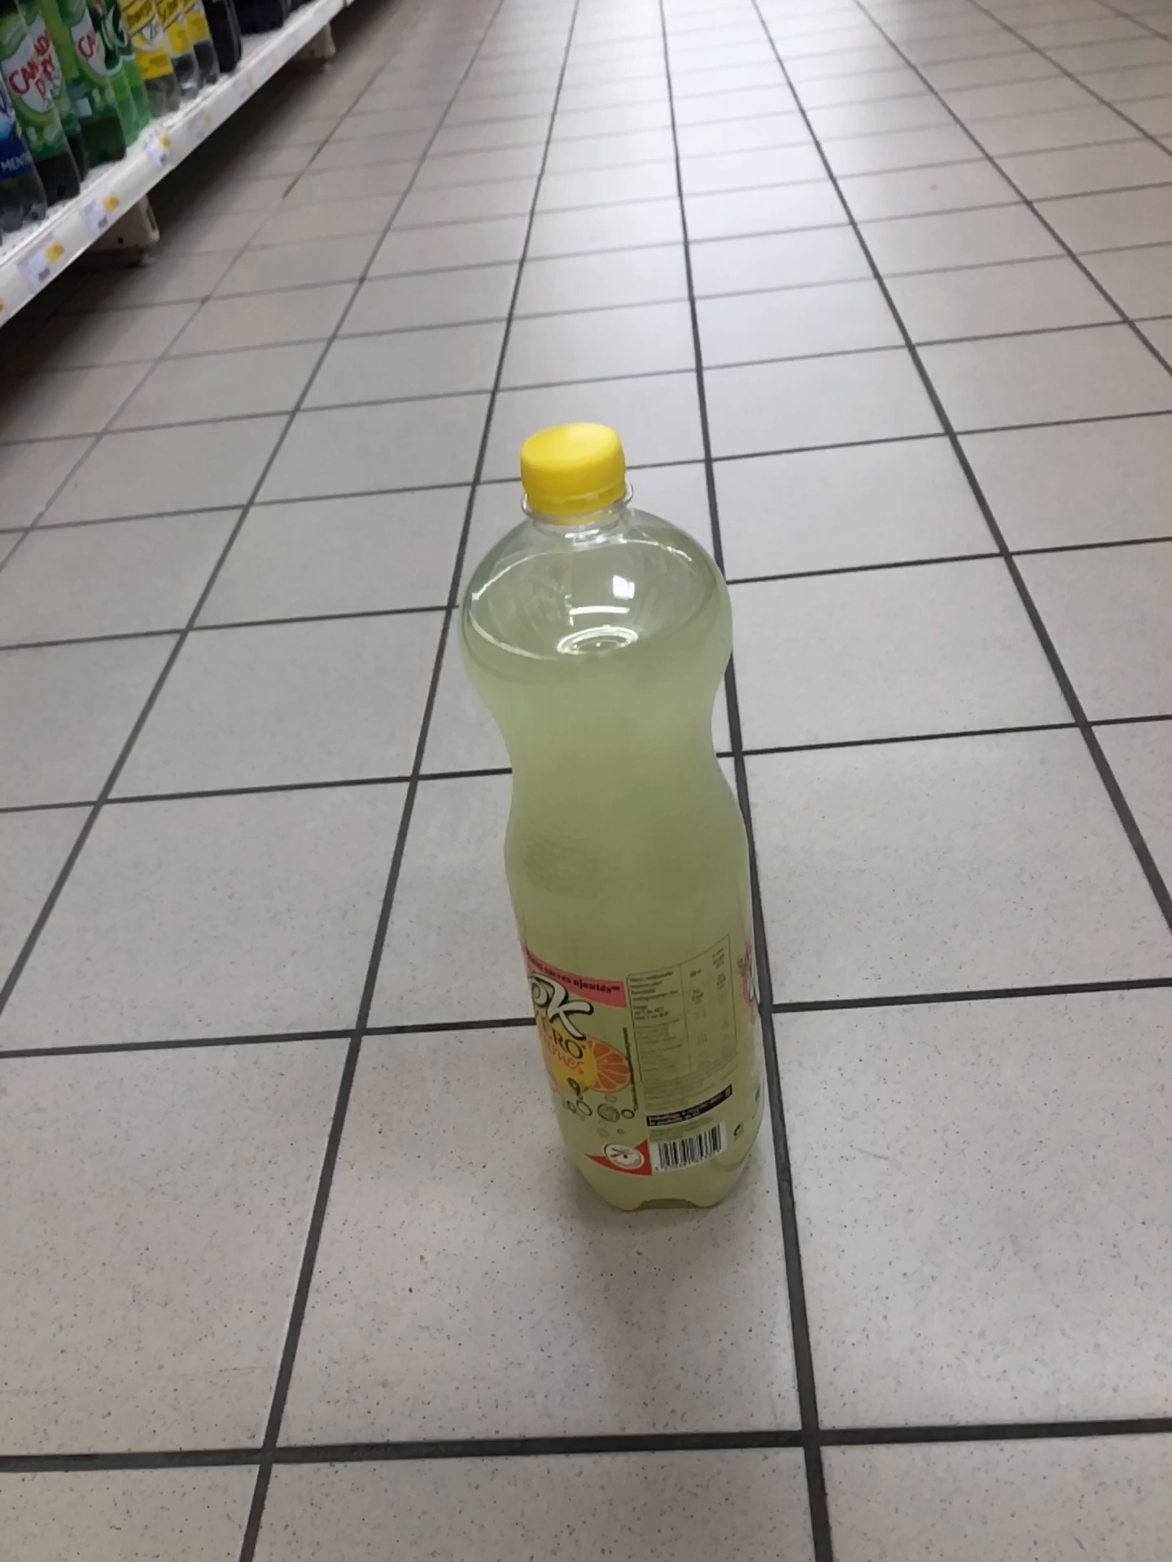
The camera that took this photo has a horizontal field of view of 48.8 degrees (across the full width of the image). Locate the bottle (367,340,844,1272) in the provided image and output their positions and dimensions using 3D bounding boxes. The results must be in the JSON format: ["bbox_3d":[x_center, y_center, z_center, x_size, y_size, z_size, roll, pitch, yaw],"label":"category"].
[{"bbox_3d":[0.017,0.022,0.448,0.100,0.298,0.110,-18,38,-12],"label":"bottle"}]
